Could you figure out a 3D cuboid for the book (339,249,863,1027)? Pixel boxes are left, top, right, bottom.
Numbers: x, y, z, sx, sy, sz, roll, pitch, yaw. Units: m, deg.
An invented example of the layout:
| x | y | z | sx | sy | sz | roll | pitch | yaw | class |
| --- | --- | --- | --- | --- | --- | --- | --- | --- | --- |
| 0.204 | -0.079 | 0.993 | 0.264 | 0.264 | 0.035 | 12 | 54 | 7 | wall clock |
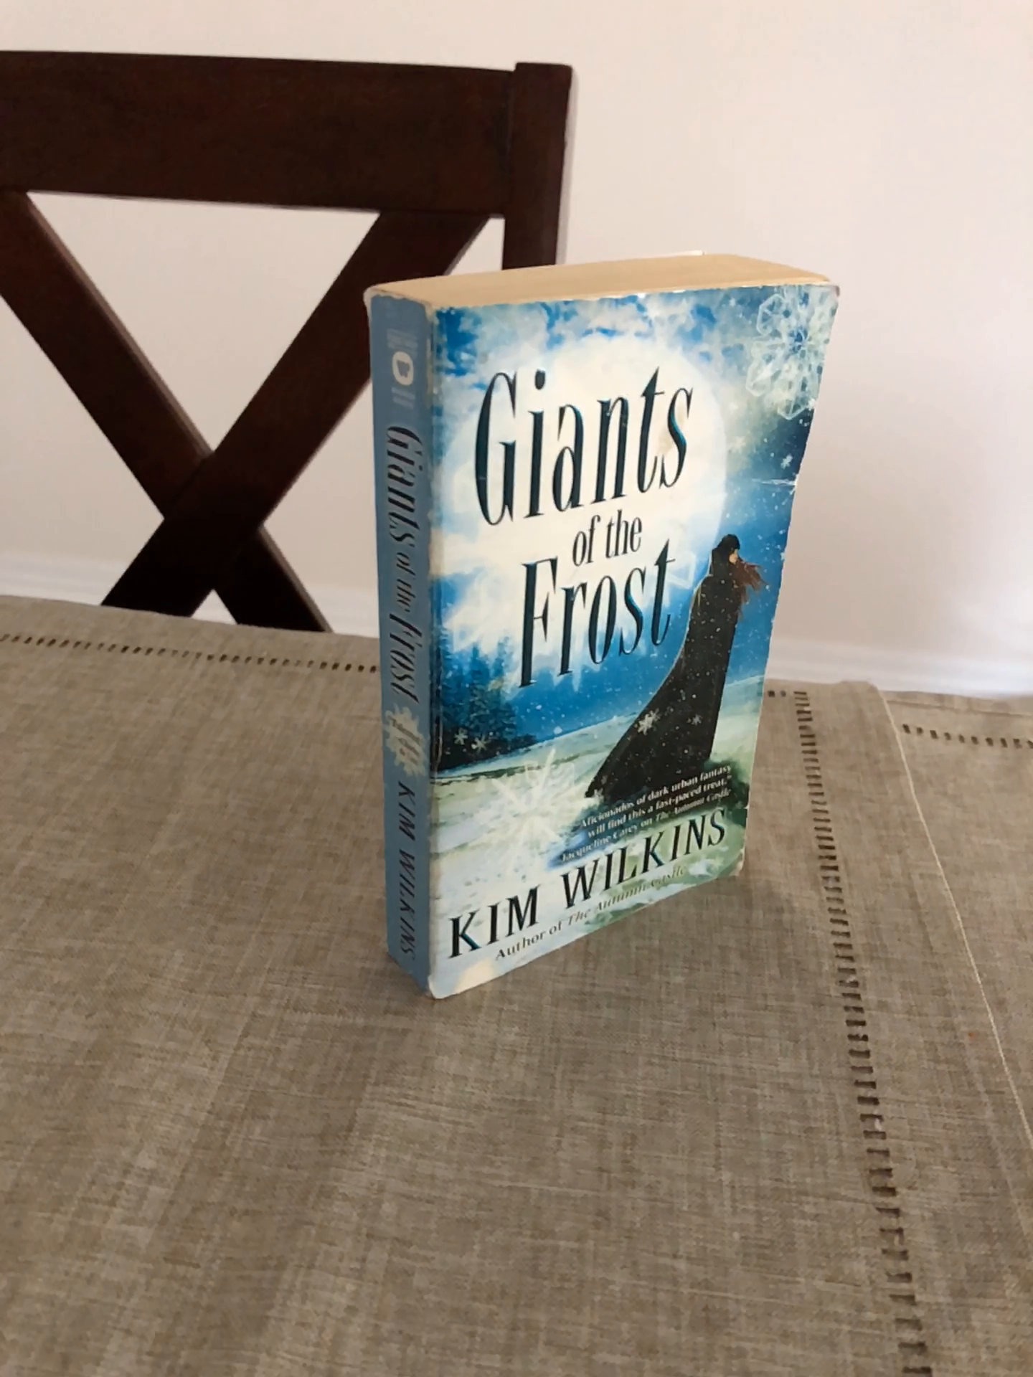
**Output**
| x | y | z | sx | sy | sz | roll | pitch | yaw | class |
| --- | --- | --- | --- | --- | --- | --- | --- | --- | --- |
| 0.019 | -0.015 | 0.287 | 0.111 | 0.168 | 0.043 | -18 | 34 | -33 | book |
